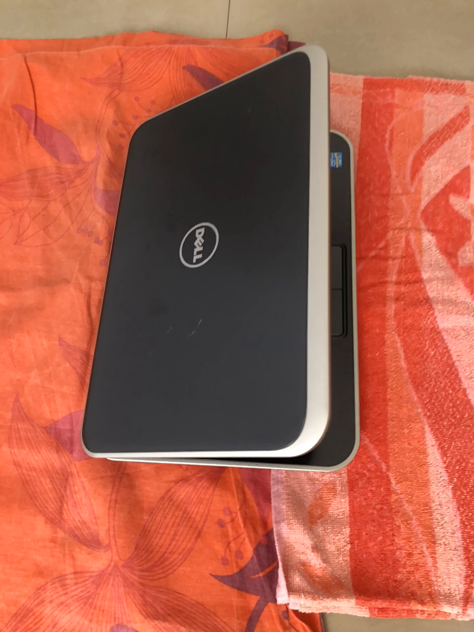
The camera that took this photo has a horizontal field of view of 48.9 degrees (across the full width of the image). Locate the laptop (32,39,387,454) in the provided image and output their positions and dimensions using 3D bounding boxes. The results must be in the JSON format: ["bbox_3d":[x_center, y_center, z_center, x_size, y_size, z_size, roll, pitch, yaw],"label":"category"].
[{"bbox_3d":[-0.009,-0.064,0.473,0.241,0.129,0.346,1,69,6],"label":"laptop"}]
